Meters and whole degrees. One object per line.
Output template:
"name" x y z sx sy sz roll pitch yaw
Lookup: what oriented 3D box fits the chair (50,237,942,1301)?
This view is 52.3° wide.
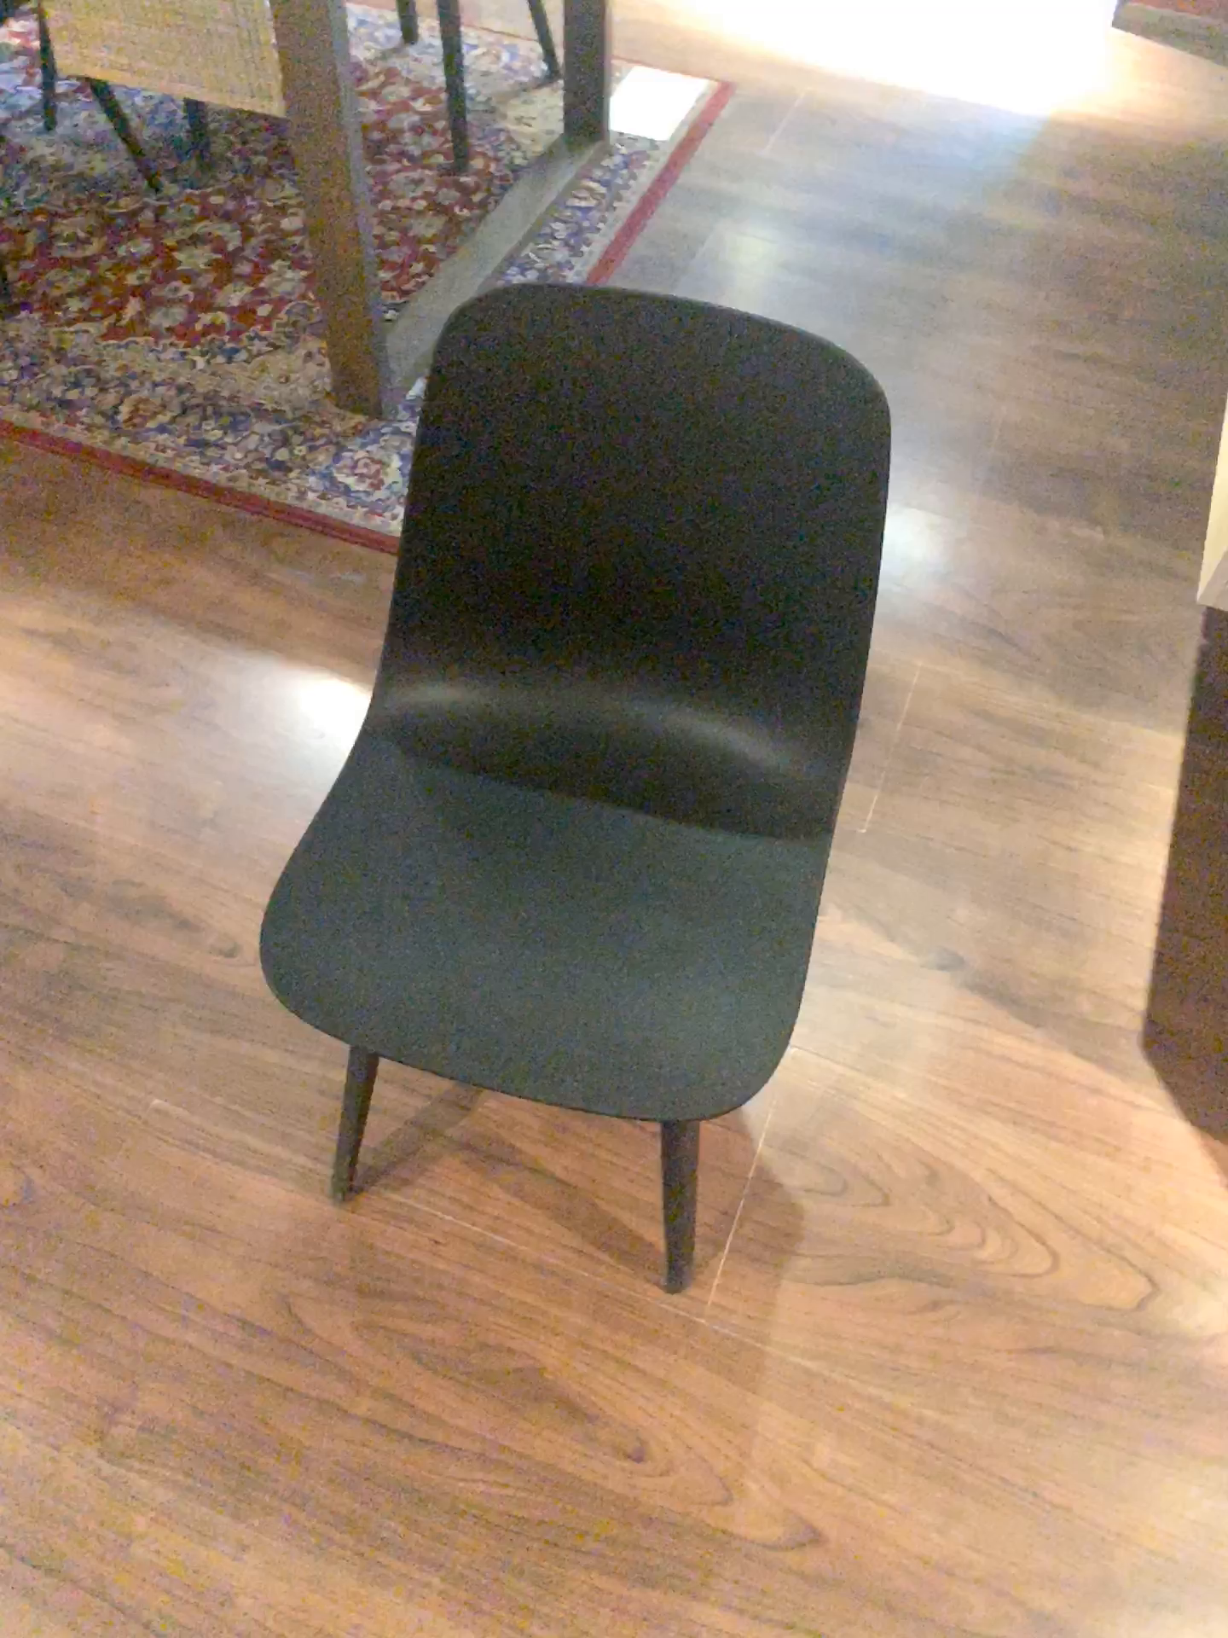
"chair" -0.046 0.001 1.111 0.440 0.718 0.531 13 54 7
